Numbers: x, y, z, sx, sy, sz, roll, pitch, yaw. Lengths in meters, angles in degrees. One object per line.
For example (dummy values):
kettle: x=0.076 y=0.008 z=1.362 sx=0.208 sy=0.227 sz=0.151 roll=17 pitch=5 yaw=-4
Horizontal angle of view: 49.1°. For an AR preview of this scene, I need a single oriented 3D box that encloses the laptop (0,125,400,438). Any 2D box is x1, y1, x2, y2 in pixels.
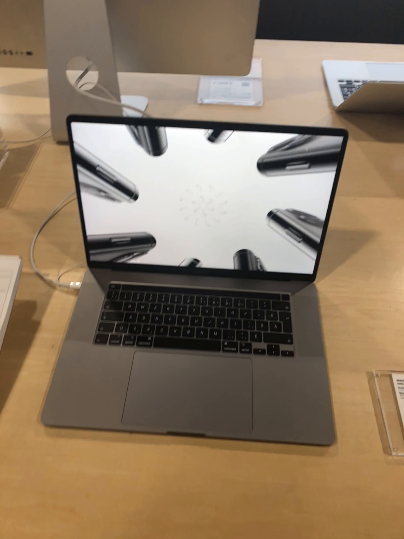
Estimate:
laptop: x=-0.005 y=0.010 z=0.534 sx=0.343 sy=0.227 sz=0.292 roll=3 pitch=50 yaw=2
